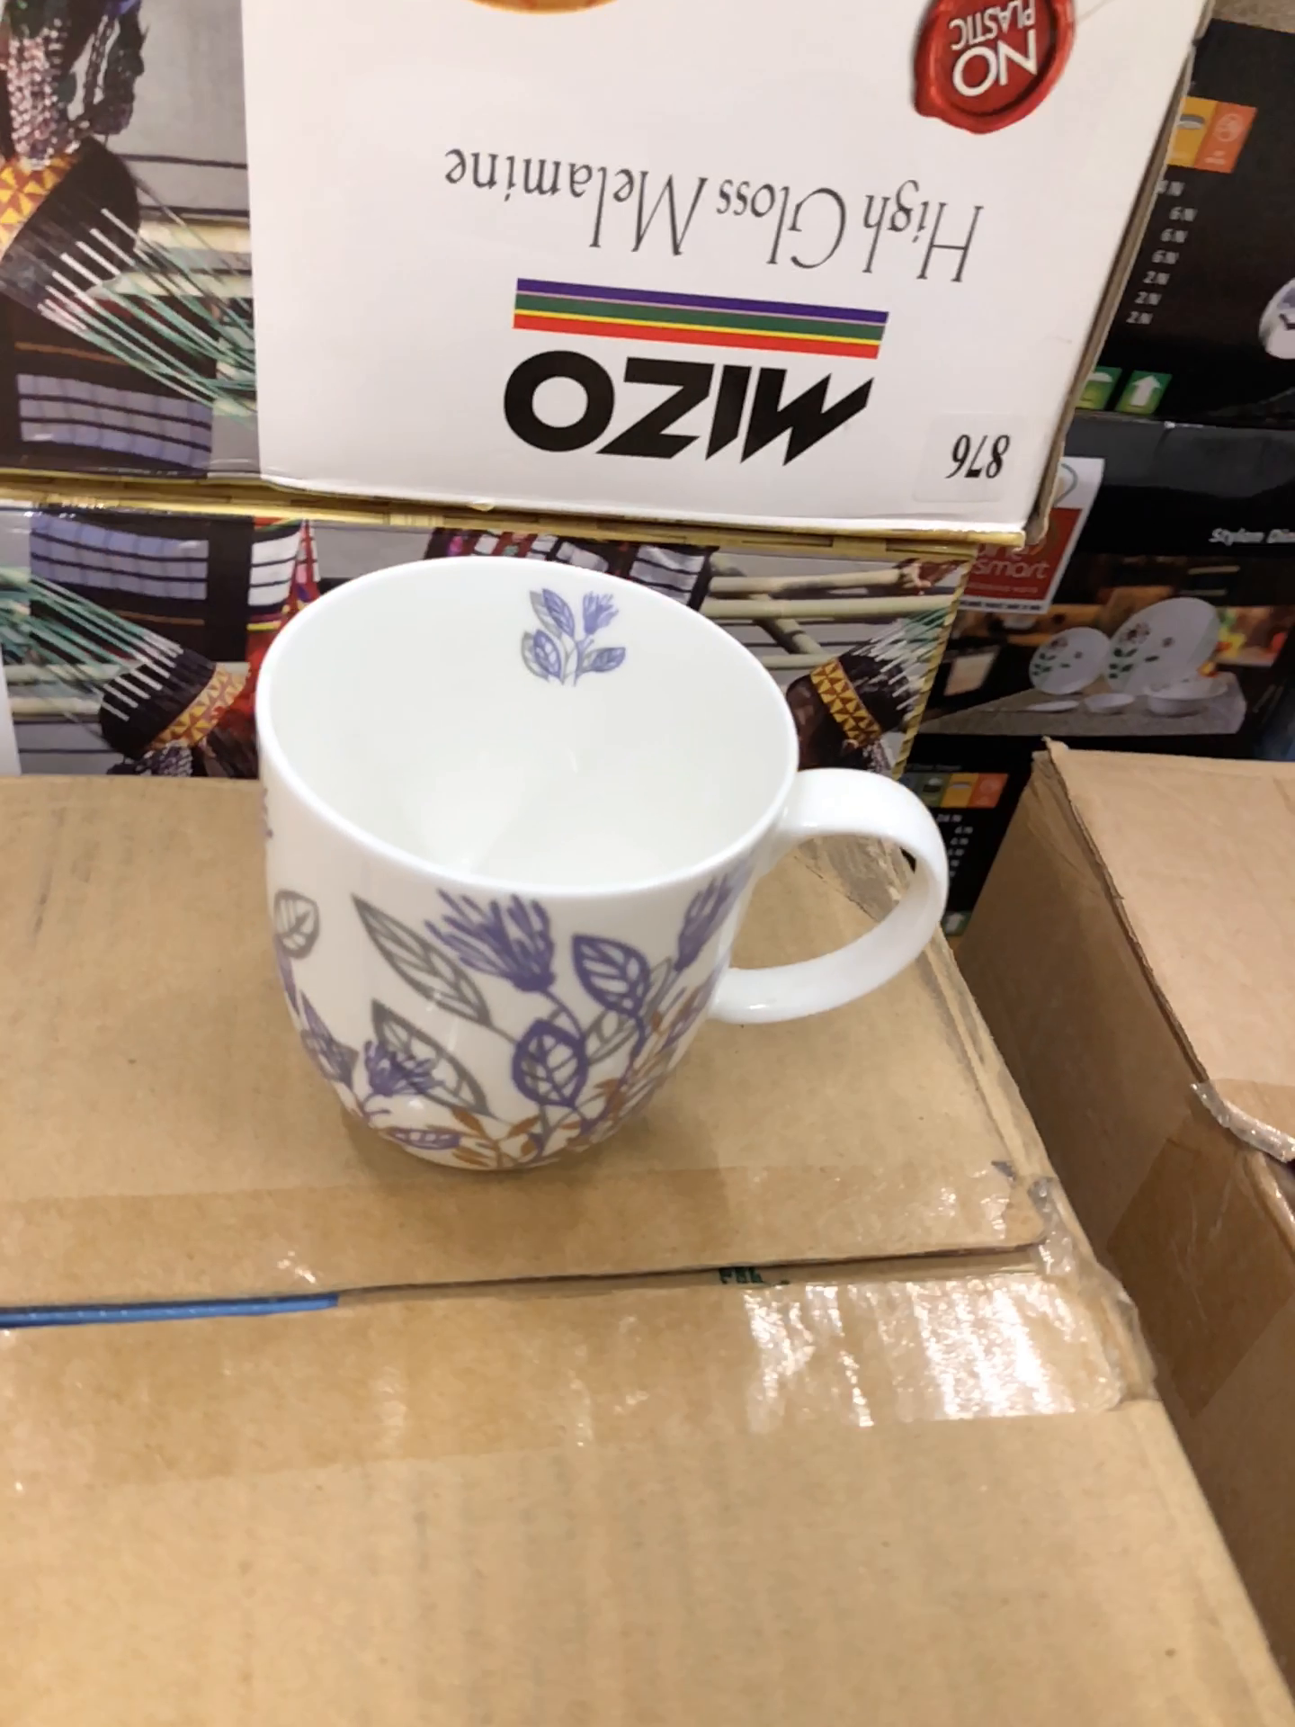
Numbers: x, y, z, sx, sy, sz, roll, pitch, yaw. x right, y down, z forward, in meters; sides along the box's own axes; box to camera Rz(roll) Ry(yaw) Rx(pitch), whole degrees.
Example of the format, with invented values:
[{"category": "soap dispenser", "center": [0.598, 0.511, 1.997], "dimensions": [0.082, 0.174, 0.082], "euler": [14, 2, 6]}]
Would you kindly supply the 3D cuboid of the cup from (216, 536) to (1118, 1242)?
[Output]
[{"category": "cup", "center": [-0.003, 0.004, 0.244], "dimensions": [0.120, 0.070, 0.091], "euler": [4, 41, -10]}]
